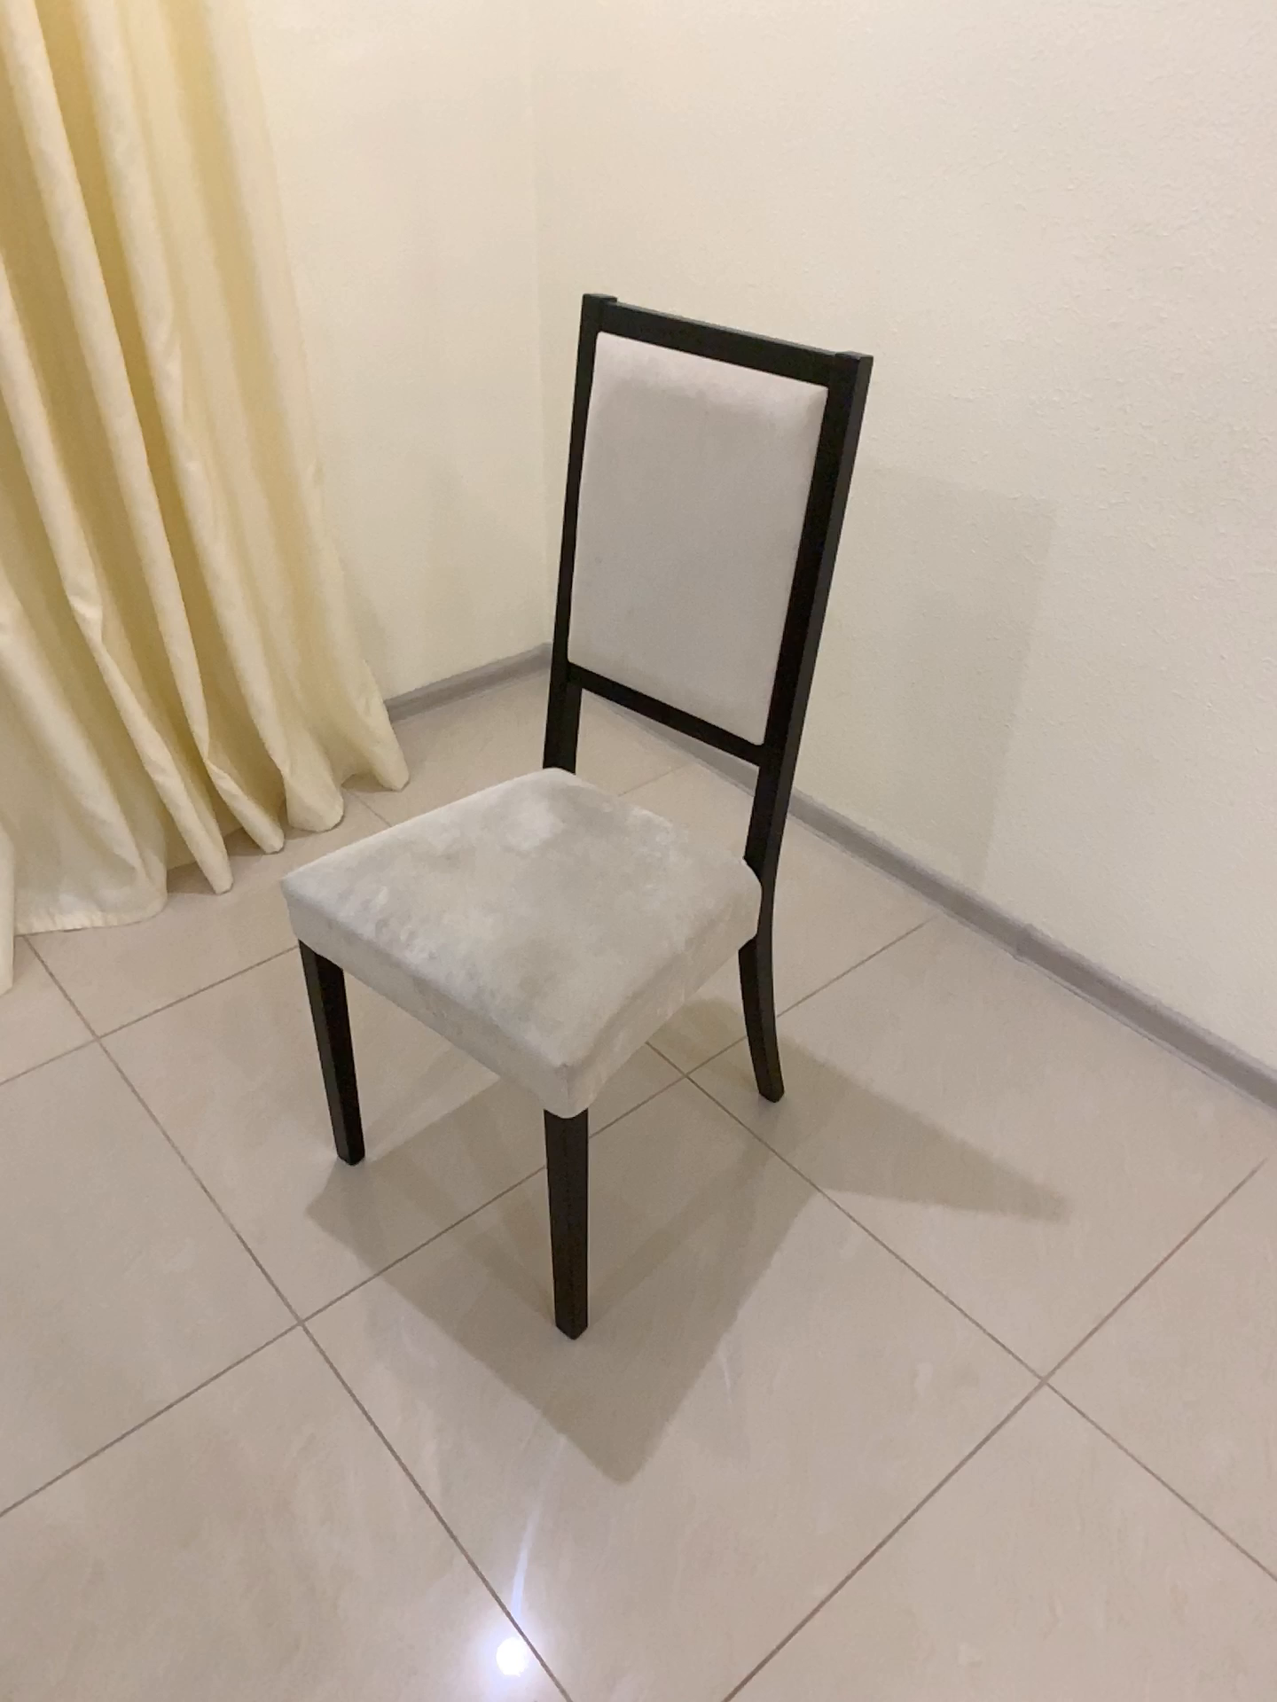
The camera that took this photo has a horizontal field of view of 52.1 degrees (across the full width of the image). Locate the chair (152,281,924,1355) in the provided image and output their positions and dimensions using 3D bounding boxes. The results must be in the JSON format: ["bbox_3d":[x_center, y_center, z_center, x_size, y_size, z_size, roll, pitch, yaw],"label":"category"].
[{"bbox_3d":[-0.083,-0.048,1.451,0.482,0.964,0.511,26,41,33],"label":"chair"}]
